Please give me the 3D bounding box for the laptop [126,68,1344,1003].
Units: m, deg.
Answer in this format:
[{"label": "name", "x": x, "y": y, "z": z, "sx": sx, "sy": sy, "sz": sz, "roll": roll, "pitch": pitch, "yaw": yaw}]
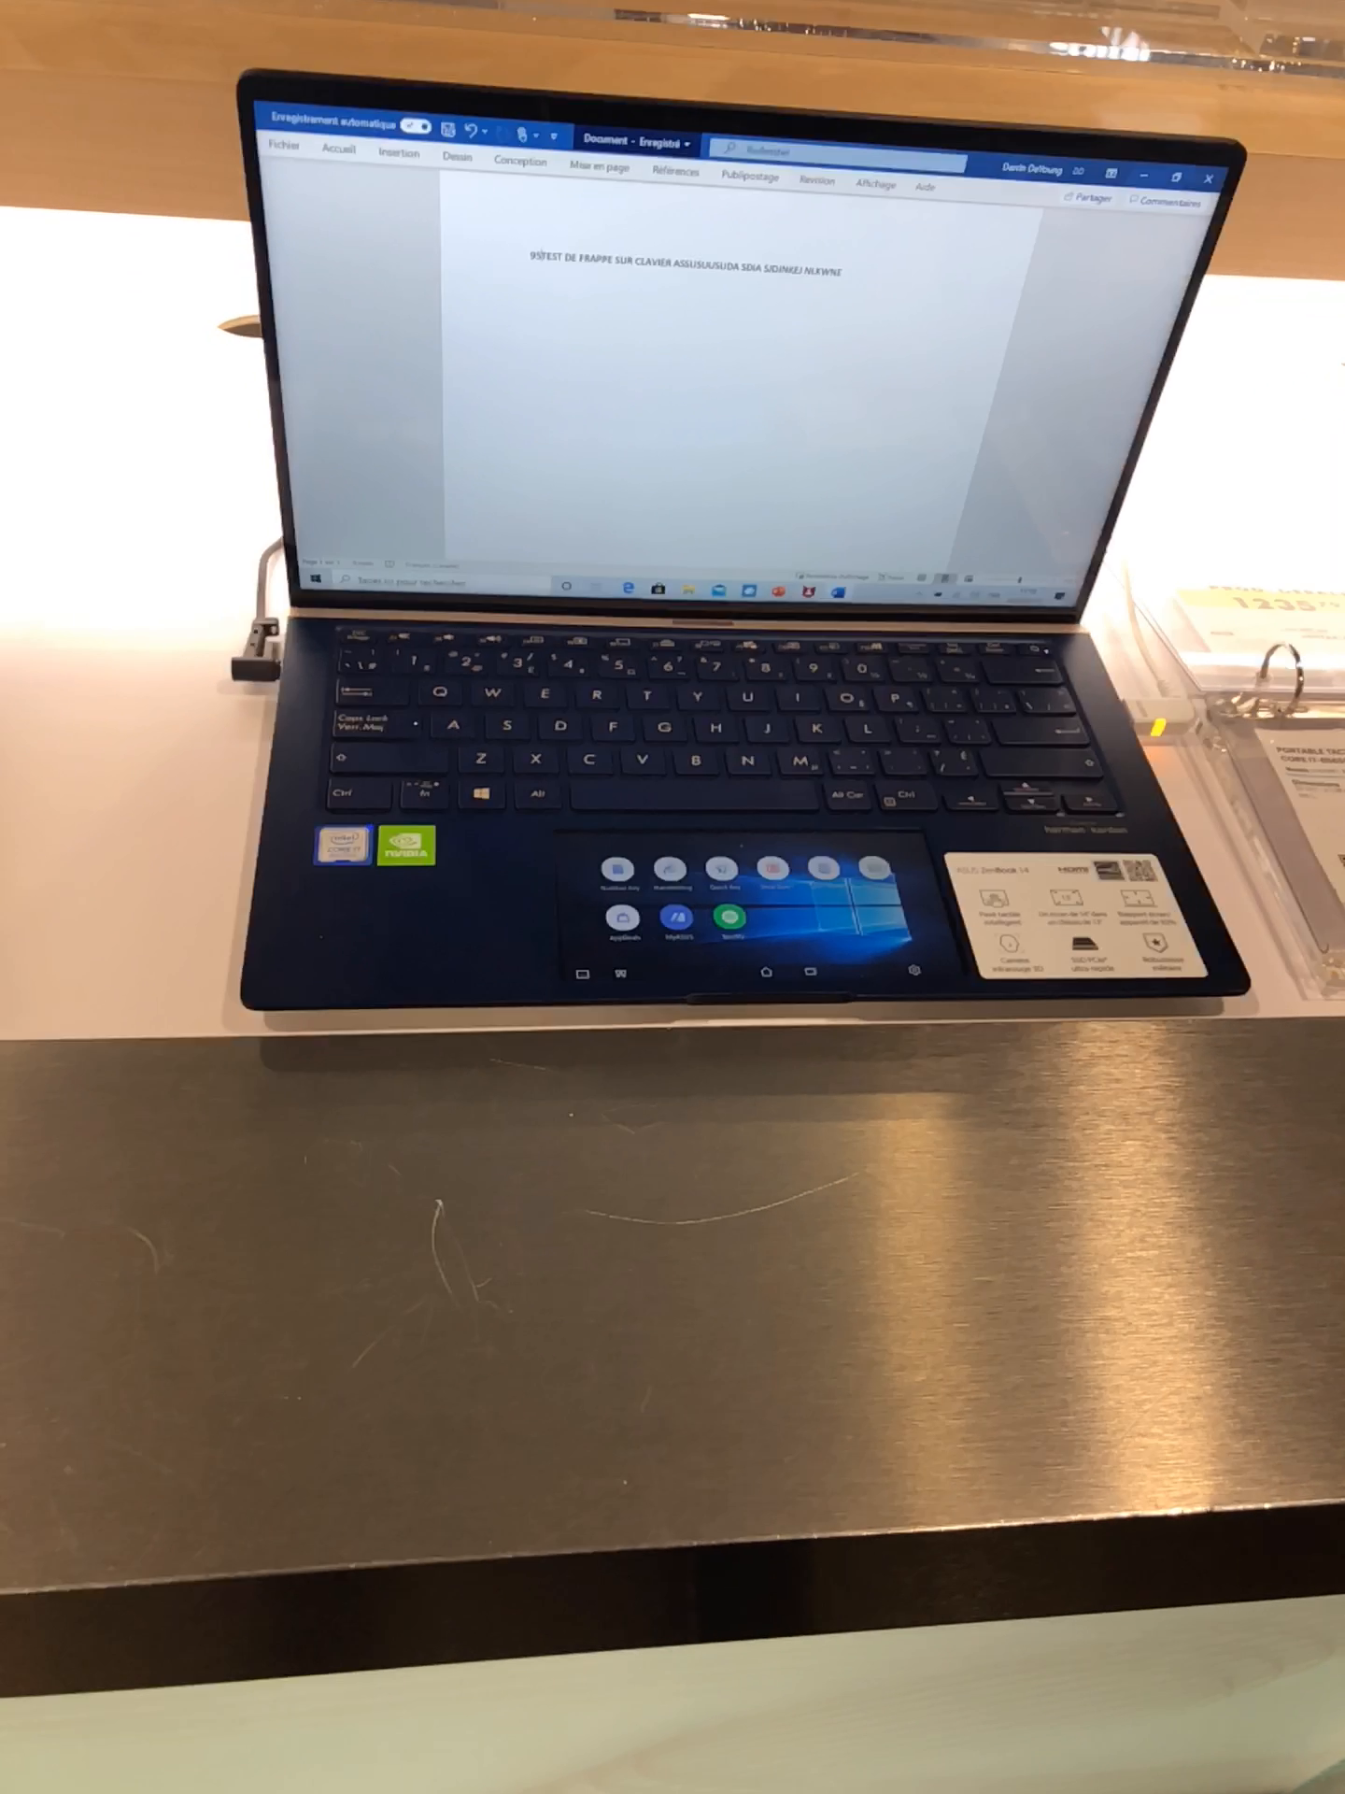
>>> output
[{"label": "laptop", "x": 0.029, "y": -0.107, "z": 0.455, "sx": 0.317, "sy": 0.193, "sz": 0.200, "roll": -1, "pitch": 47, "yaw": -8}]
